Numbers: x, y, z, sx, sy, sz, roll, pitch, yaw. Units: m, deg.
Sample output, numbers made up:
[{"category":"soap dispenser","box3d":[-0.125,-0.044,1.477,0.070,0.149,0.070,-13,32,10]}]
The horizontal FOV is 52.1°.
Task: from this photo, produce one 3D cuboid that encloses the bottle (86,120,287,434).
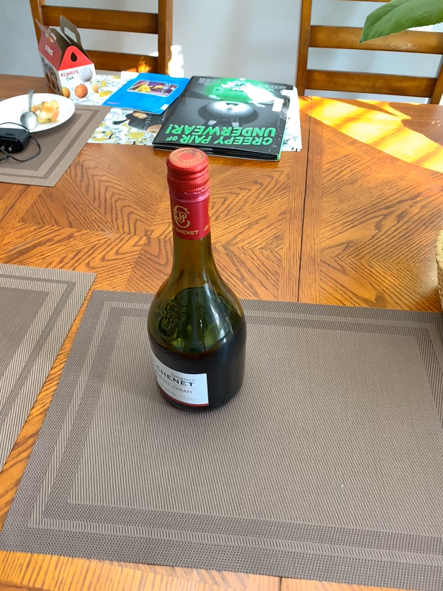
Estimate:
[{"category":"bottle","box3d":[-0.026,-0.001,0.410,0.100,0.258,0.100,0,46,0]}]
